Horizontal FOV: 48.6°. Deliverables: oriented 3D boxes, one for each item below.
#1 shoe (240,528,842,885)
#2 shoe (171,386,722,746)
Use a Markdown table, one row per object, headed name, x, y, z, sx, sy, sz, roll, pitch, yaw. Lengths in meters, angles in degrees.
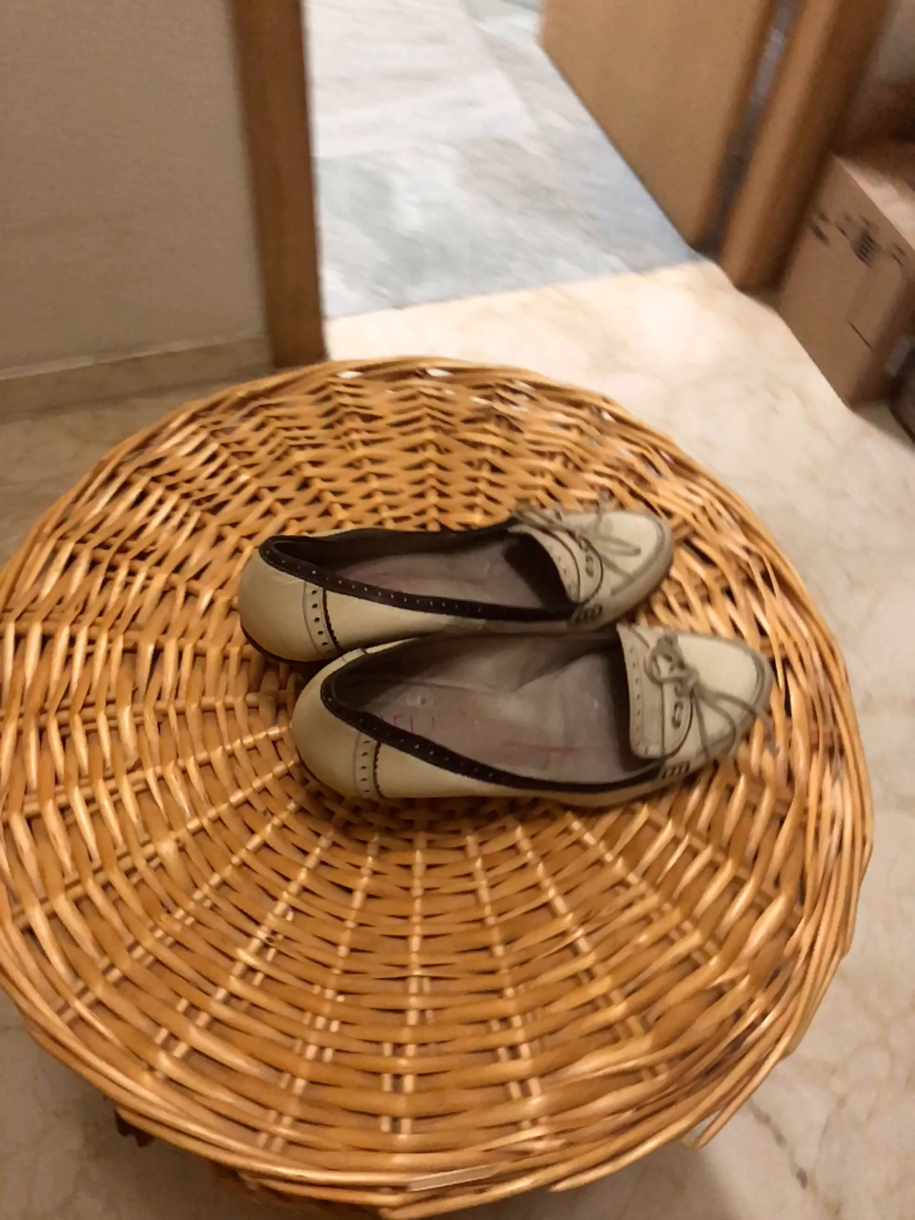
| name | x | y | z | sx | sy | sz | roll | pitch | yaw |
| --- | --- | --- | --- | --- | --- | --- | --- | --- | --- |
| shoe | 0.034 | 0.049 | 0.511 | 0.260 | 0.110 | 0.100 | -9 | 61 | -10 |
| shoe | -0.007 | -0.026 | 0.550 | 0.260 | 0.090 | 0.100 | -16 | 63 | -14 |
